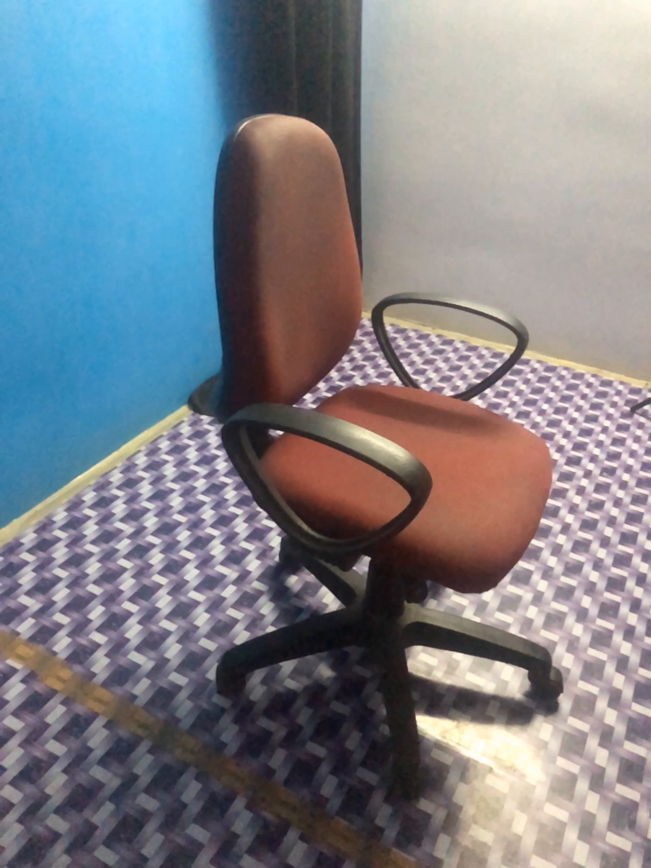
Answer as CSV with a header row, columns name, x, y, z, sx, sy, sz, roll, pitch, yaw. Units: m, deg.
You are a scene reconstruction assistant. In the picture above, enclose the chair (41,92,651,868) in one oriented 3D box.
name,x,y,z,sx,sy,sz,roll,pitch,yaw
chair,0.138,-0.008,1.172,0.740,0.895,0.704,20,34,25
